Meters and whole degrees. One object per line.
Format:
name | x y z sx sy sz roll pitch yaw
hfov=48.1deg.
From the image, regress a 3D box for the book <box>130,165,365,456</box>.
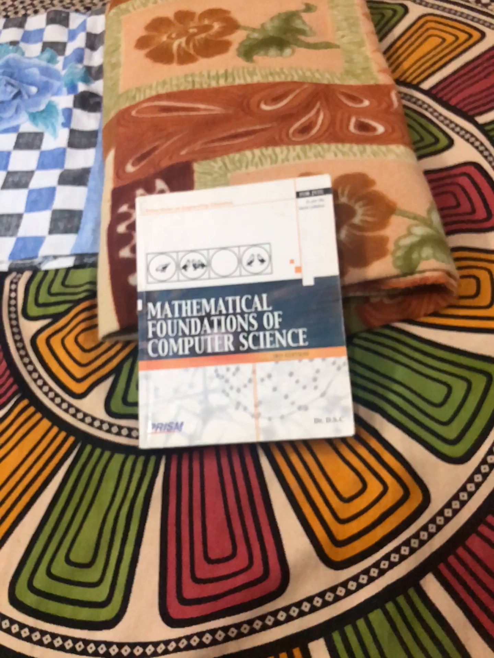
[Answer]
book | -0.005 -0.014 0.504 0.190 0.060 0.240 -6 74 7
